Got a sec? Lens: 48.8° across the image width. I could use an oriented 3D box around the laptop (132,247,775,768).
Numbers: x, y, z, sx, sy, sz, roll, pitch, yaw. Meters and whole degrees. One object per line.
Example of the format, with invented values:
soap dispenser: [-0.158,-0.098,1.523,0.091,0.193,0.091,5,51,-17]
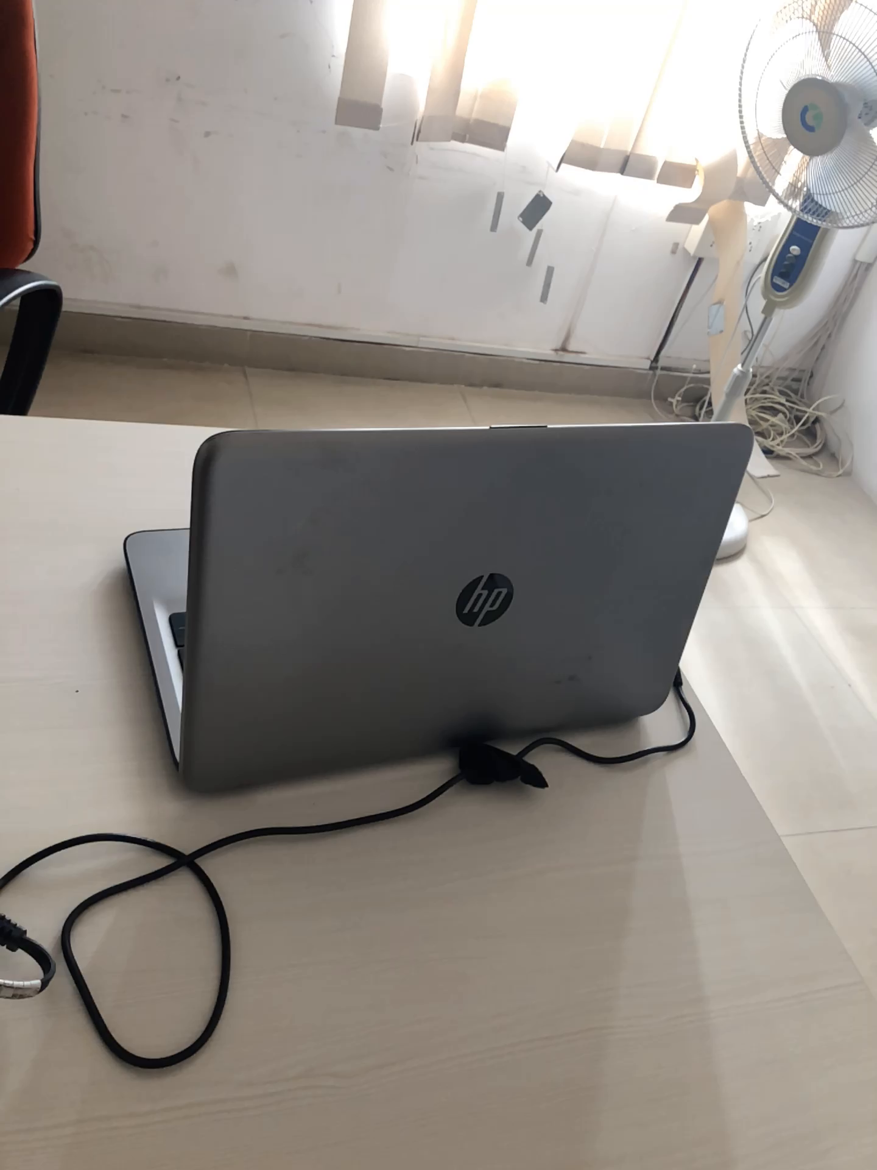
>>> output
laptop: [-0.011,-0.062,0.675,0.351,0.226,0.217,-5,46,-24]
